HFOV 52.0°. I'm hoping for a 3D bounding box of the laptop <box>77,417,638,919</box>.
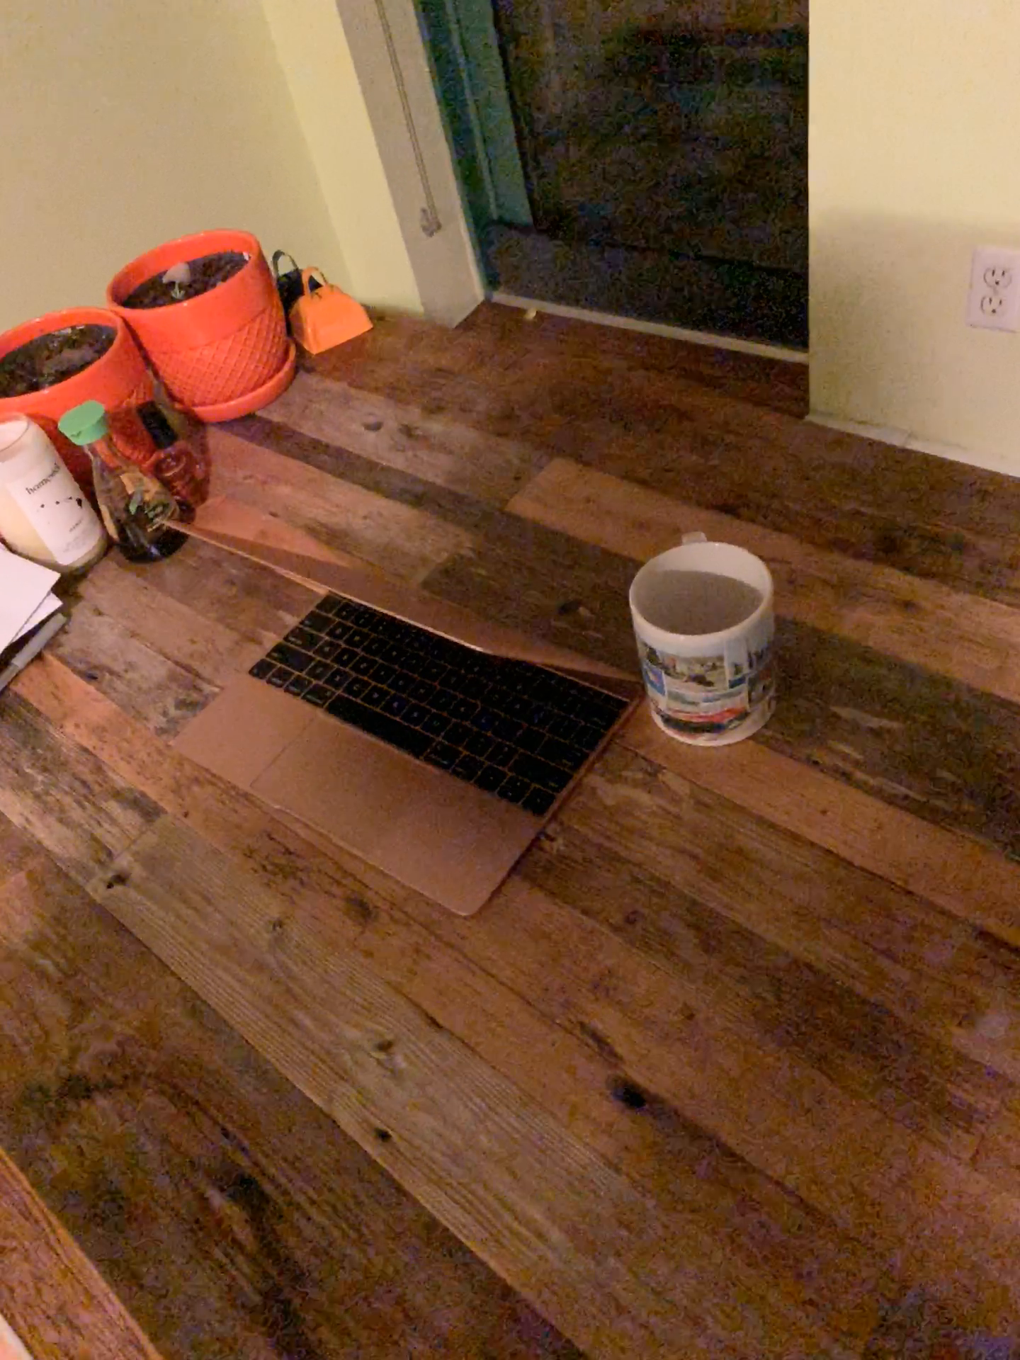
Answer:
[{"bbox_3d":[-0.092,-0.024,0.671,0.279,0.145,0.194,23,59,32],"label":"laptop"}]
